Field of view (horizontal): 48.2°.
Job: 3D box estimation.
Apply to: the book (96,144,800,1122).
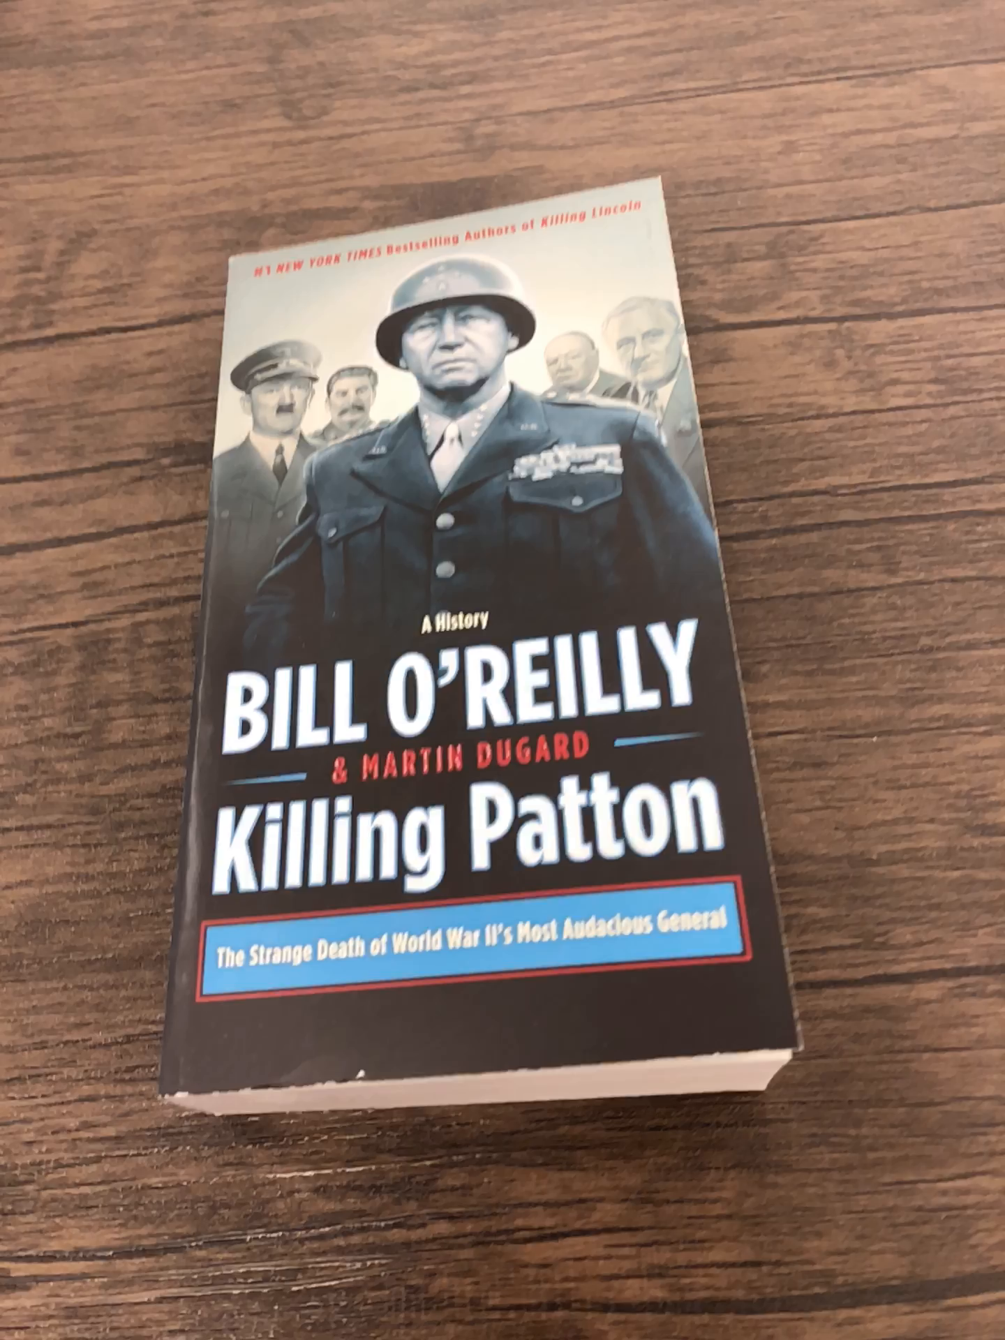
[{"bbox_3d":[-0.012,-0.014,0.222,0.105,0.040,0.182,-8,63,9],"label":"book"}]
